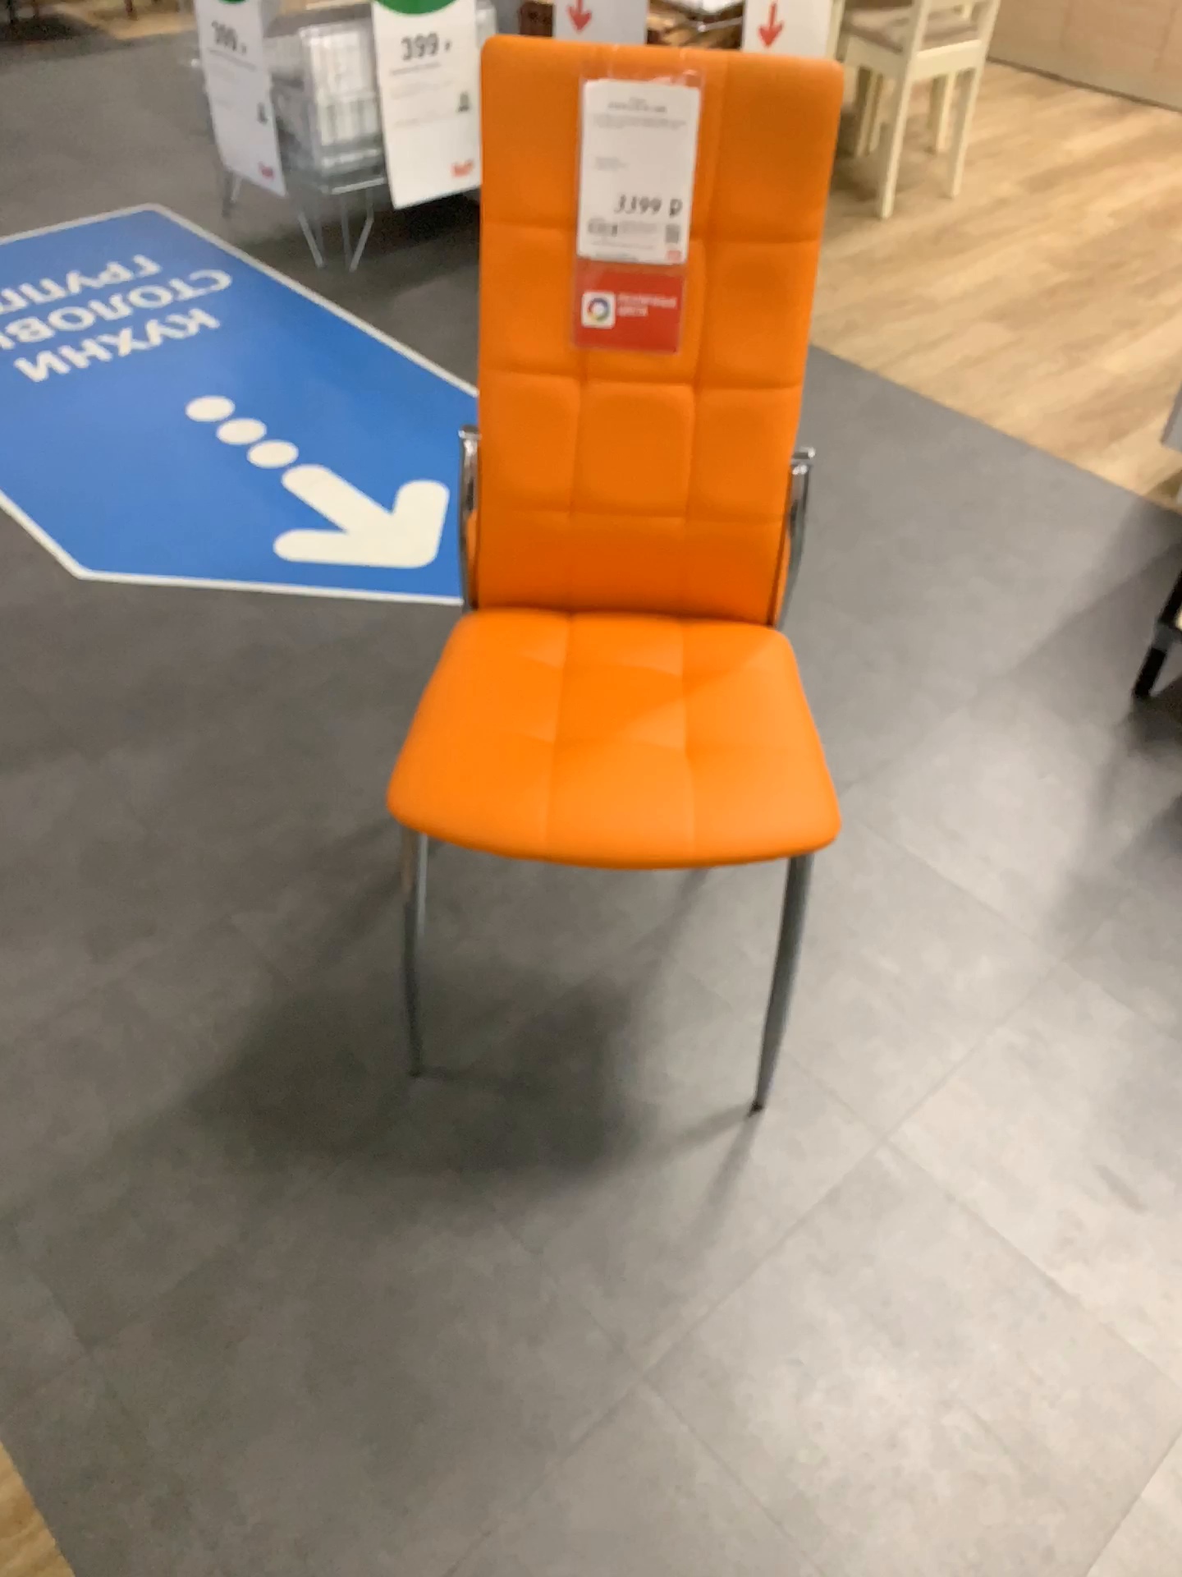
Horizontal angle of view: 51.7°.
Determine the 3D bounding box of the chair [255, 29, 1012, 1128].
[{"bbox_3d":[0.029,-0.164,1.332,0.490,1.014,0.543,5,44,2],"label":"chair"}]
